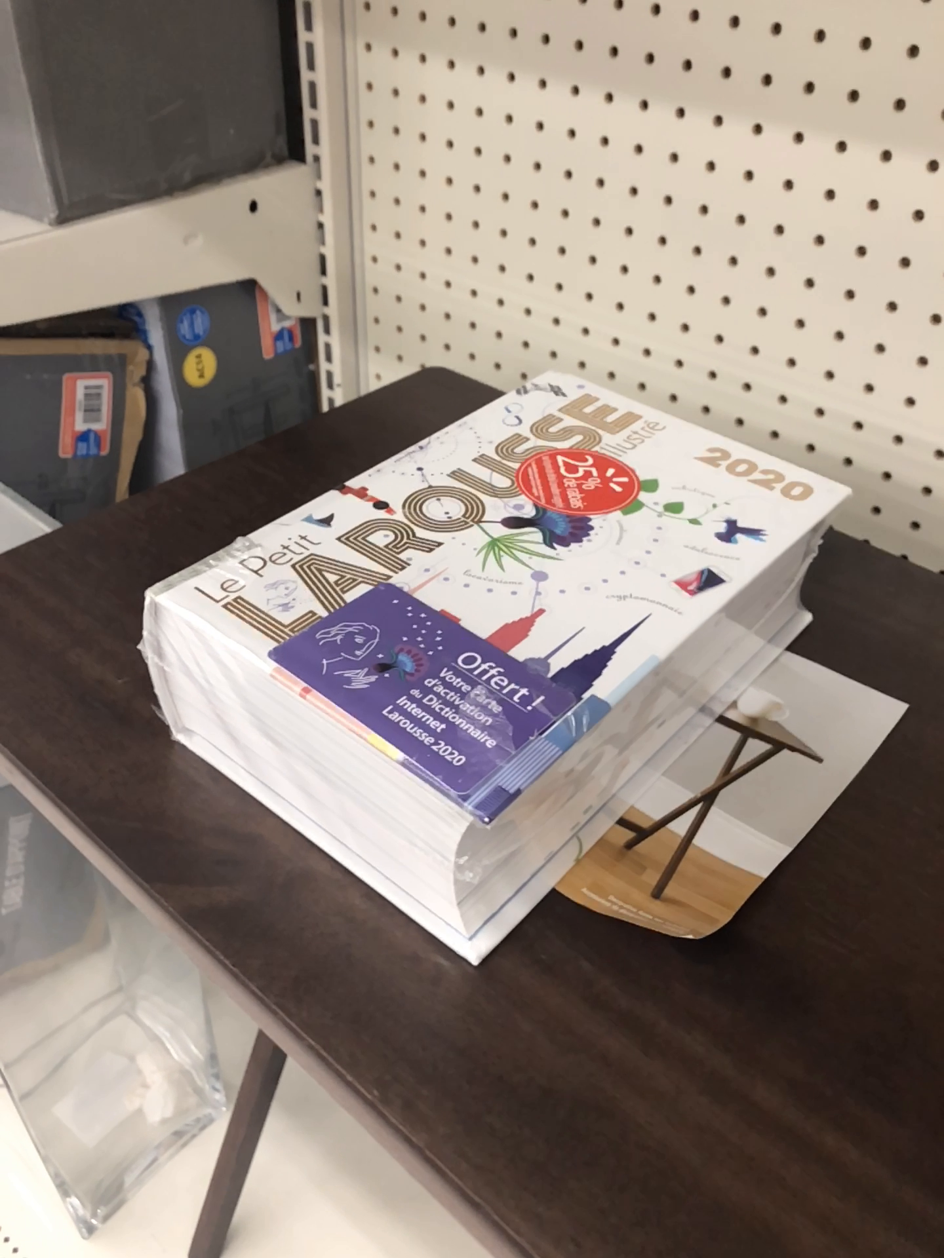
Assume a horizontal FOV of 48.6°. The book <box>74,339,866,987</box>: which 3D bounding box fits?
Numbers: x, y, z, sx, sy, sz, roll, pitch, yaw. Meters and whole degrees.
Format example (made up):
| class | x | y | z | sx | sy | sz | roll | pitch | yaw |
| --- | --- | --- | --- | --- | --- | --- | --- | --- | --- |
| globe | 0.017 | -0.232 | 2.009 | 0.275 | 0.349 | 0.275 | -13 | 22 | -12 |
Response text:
| class | x | y | z | sx | sy | sz | roll | pitch | yaw |
| --- | --- | --- | --- | --- | --- | --- | --- | --- | --- |
| book | 0.009 | -0.015 | 0.390 | 0.171 | 0.069 | 0.231 | 29 | 46 | 29 |
